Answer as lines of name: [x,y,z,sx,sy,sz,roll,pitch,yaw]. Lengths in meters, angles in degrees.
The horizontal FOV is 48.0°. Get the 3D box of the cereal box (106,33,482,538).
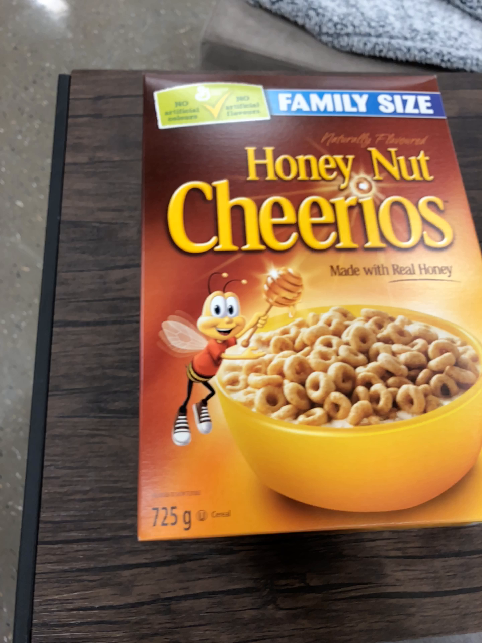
cereal box: [0.039,-0.047,0.413,0.250,0.080,0.380,-2,68,-3]
